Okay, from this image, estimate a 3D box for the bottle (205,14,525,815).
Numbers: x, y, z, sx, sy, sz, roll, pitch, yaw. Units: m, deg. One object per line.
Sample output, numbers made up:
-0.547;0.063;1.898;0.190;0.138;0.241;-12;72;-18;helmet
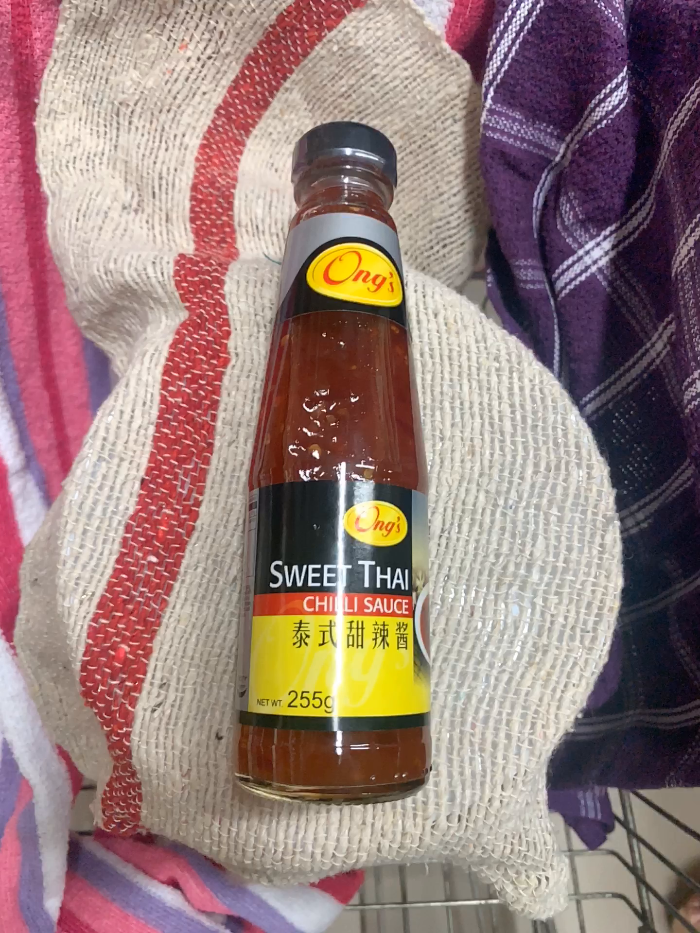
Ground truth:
0.006;-0.014;0.200;0.060;0.050;0.190;9;77;-21;bottle
